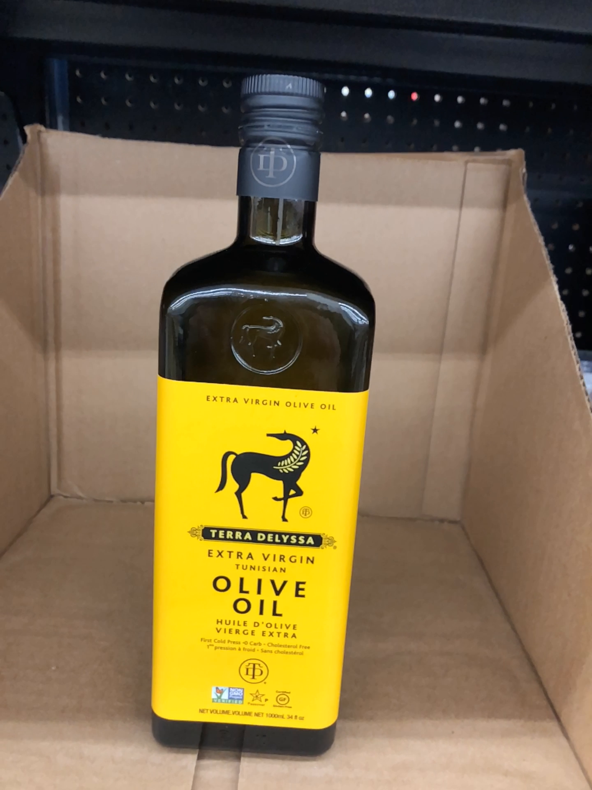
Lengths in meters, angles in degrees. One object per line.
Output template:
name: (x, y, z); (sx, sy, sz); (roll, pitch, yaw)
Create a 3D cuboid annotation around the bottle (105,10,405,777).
bottle: (-0.019, 0.010, 0.284); (0.090, 0.288, 0.091); (3, 18, -1)
